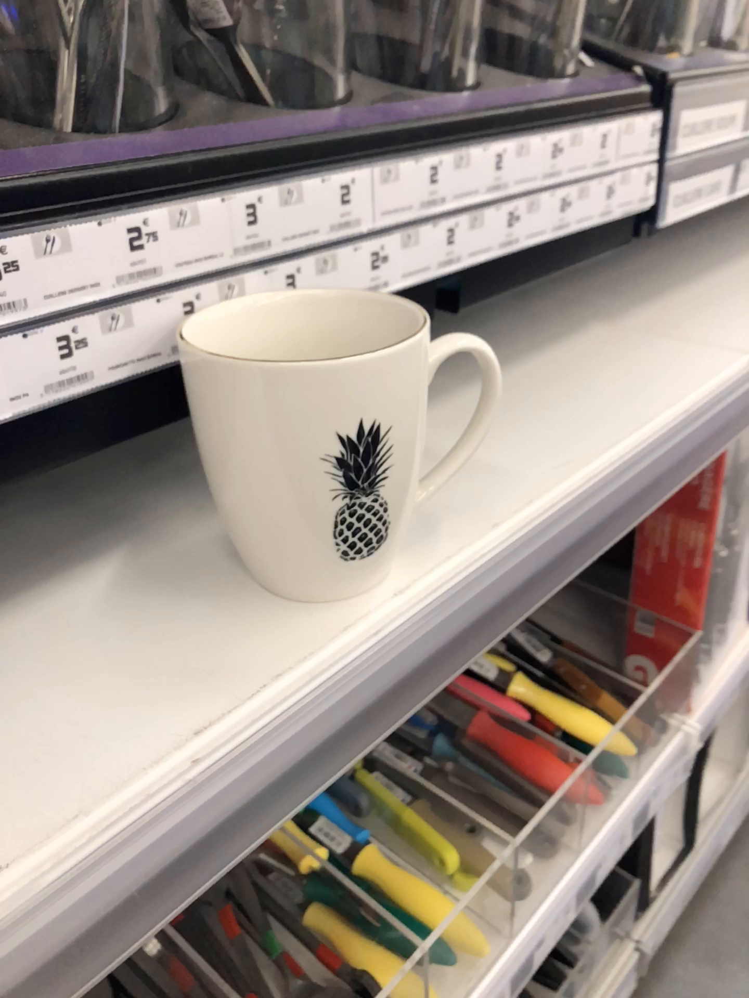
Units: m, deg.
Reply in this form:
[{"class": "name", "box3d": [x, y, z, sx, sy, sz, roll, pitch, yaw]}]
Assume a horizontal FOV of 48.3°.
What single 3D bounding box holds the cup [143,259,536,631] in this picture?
[{"class": "cup", "box3d": [-0.015, -0.026, 0.308, 0.115, 0.093, 0.083, -11, 32, -16]}]
